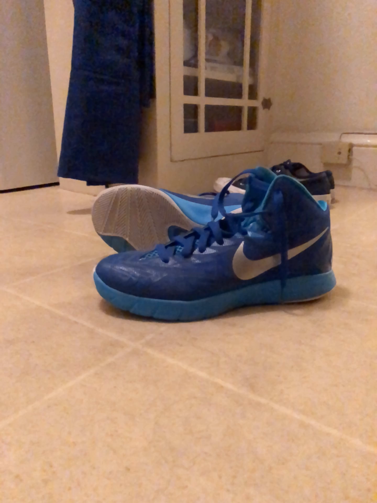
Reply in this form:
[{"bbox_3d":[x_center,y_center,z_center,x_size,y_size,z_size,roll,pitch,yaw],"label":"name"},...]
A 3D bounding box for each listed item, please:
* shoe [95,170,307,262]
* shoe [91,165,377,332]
[{"bbox_3d":[0.016,-0.062,0.640,0.281,0.120,0.160,0,12,-1],"label":"shoe"},{"bbox_3d":[0.052,-0.018,0.480,0.310,0.144,0.120,-4,17,-13],"label":"shoe"}]
